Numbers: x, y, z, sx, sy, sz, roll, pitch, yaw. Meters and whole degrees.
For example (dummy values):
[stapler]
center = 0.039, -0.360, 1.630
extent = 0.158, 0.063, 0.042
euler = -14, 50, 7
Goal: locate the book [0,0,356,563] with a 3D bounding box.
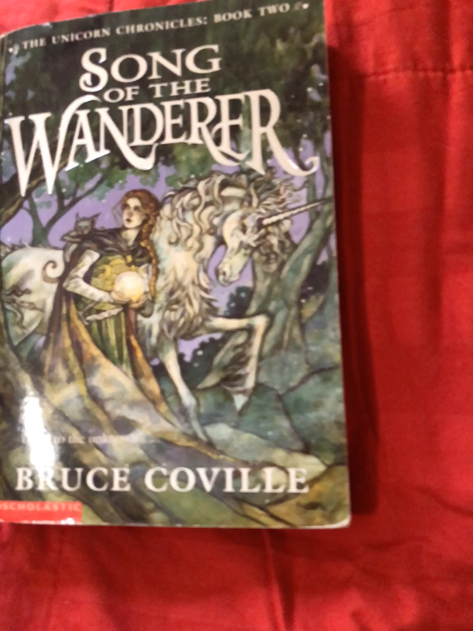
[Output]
[book]
center = -0.027, -0.017, 0.193
extent = 0.130, 0.030, 0.190
euler = -2, 83, 11
